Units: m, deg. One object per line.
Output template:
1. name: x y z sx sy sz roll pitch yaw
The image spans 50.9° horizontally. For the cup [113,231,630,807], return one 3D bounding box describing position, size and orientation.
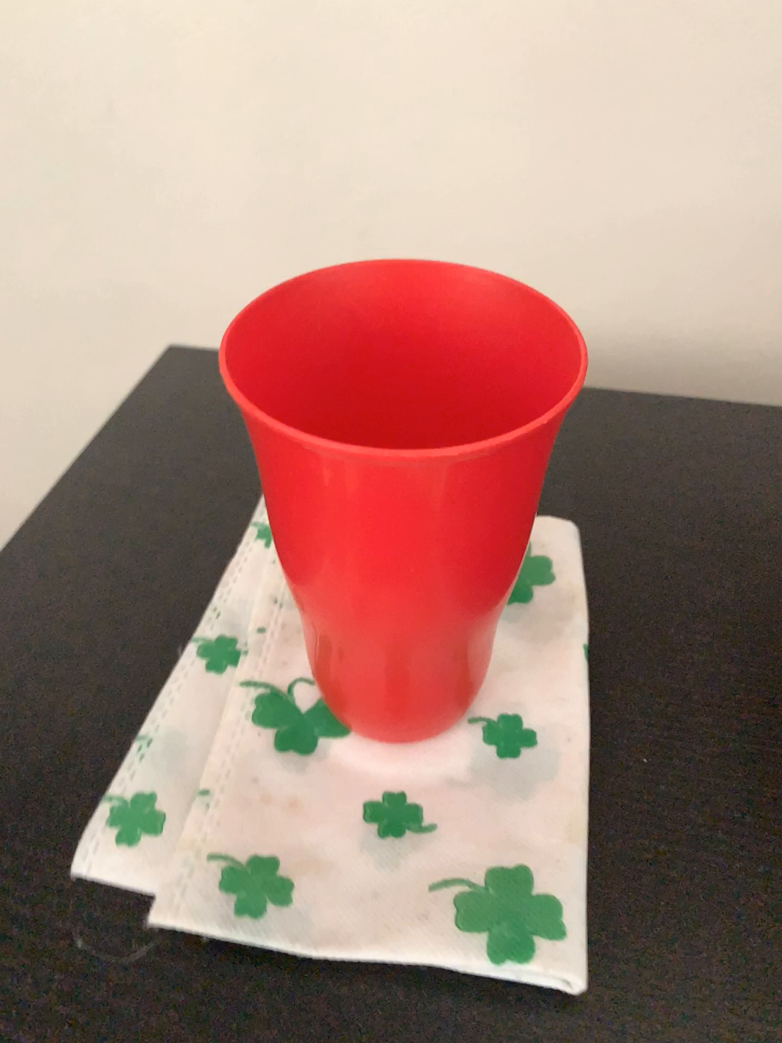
1. cup: 0.000 -0.004 0.200 0.079 0.091 0.082 1 41 -1
